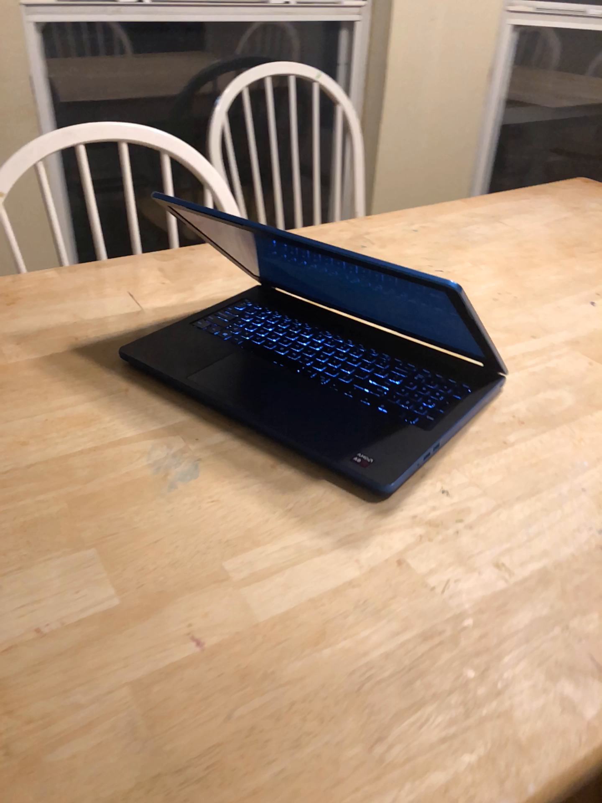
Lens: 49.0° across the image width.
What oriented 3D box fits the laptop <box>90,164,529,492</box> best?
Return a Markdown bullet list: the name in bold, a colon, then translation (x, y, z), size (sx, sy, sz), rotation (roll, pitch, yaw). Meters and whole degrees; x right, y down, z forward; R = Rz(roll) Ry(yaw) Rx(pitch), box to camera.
- **laptop**: translation (0.004, -0.109, 0.697), size (0.362, 0.159, 0.249), rotation (24, 40, 29)
